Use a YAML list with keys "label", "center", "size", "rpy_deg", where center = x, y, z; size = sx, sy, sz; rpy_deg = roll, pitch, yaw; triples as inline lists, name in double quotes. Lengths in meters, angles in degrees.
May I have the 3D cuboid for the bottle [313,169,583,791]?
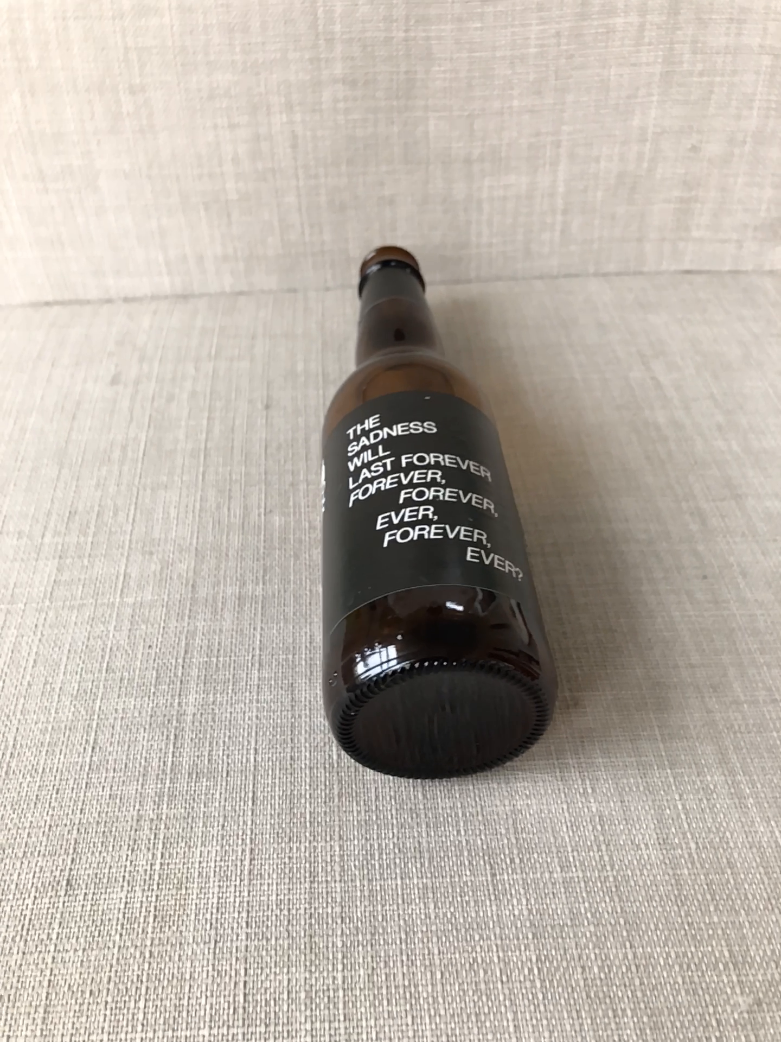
- label: "bottle"
  center: [0.006, -0.036, 0.297]
  size: [0.060, 0.059, 0.240]
  rpy_deg: [-2, 47, -2]
